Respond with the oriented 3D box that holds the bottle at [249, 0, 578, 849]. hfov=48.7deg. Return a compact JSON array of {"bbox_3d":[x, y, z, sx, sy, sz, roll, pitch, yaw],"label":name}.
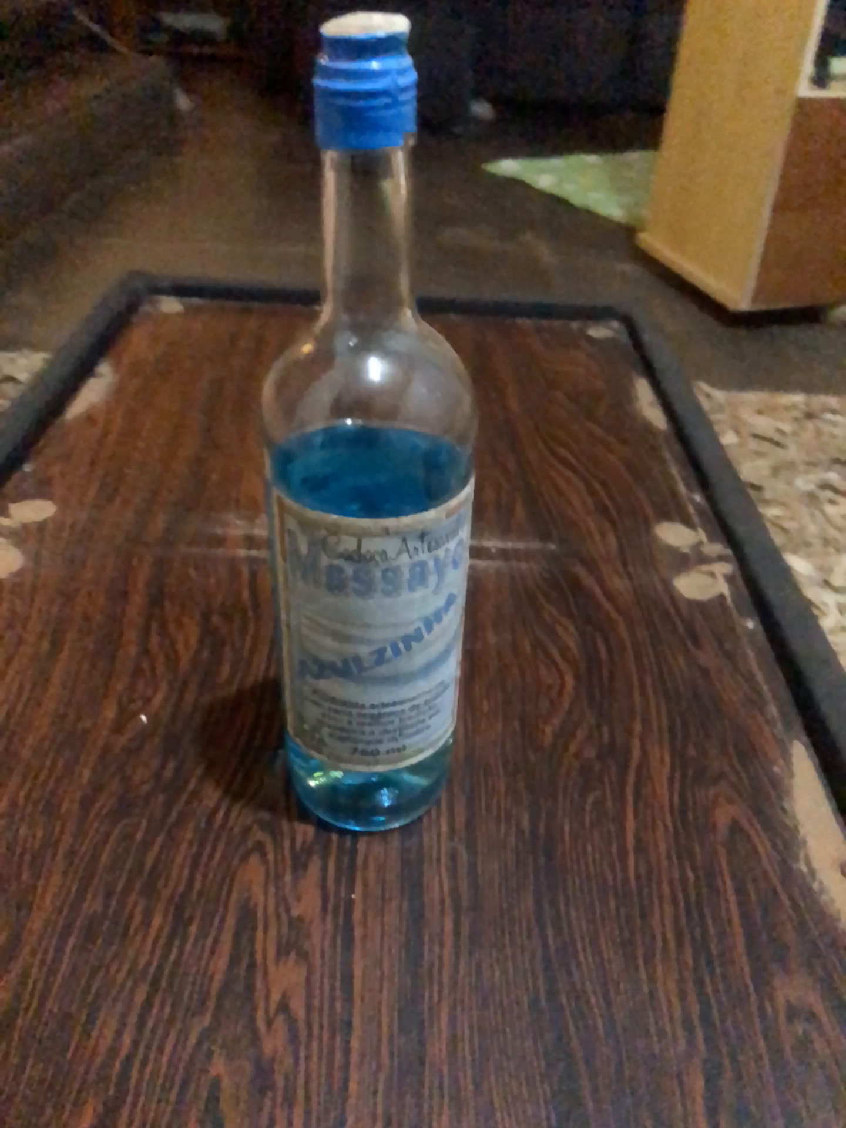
[{"bbox_3d":[-0.014,-0.031,0.342,0.080,0.298,0.081,2,34,-1],"label":"bottle"}]
